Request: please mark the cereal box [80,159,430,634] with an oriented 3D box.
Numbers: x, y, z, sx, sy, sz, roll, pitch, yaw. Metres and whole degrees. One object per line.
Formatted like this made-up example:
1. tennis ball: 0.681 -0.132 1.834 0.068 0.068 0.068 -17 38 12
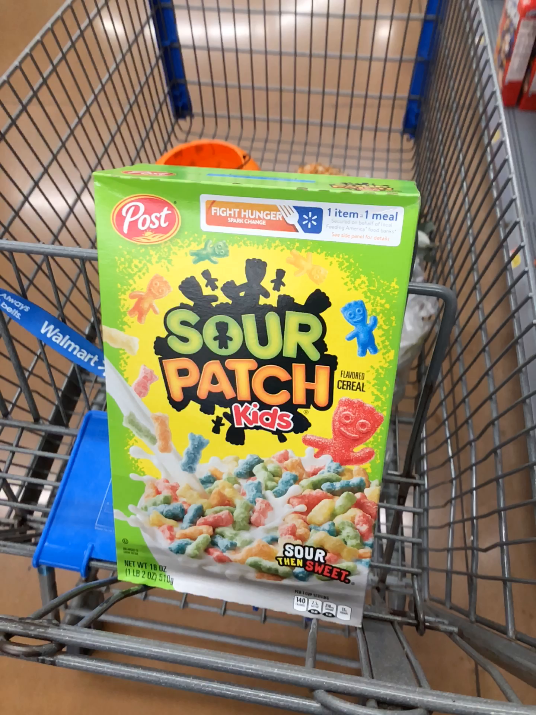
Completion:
1. cereal box: -0.010 0.032 0.429 0.200 0.320 0.080 6 23 9
